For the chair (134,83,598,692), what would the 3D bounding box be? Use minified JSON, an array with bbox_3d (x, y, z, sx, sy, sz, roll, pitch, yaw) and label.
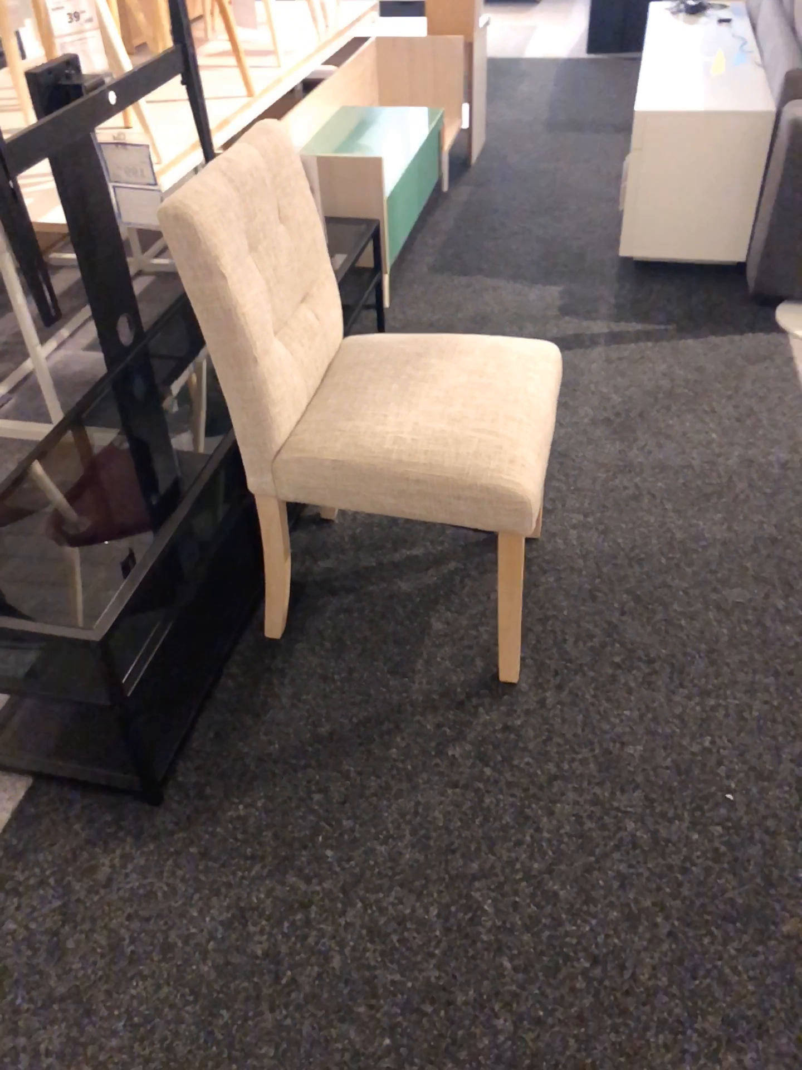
[{"bbox_3d":[0.006,-0.256,1.544,0.560,0.855,0.554,6,40,10],"label":"chair"}]
